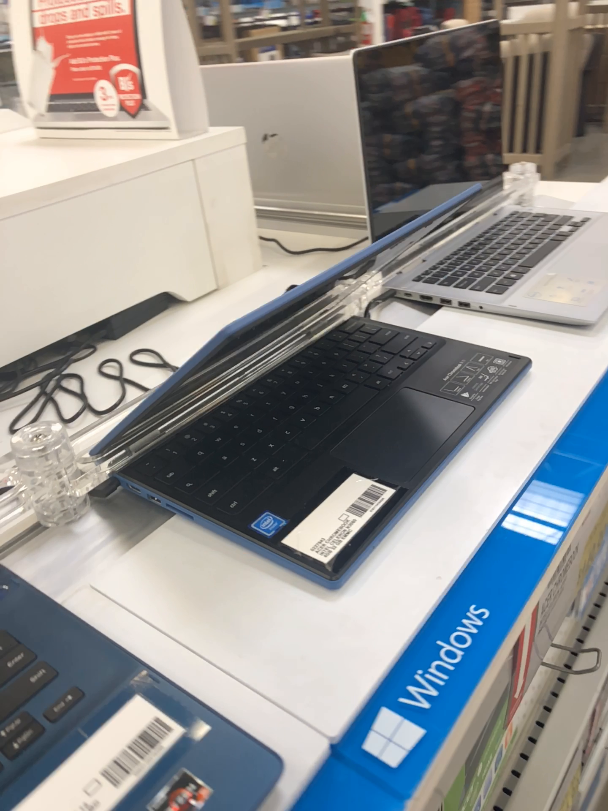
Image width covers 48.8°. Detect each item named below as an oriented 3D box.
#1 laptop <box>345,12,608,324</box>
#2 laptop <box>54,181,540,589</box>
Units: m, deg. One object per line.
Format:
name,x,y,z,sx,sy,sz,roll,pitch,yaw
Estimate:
laptop,0.255,-0.278,0.716,0.246,0.216,0.356,18,38,33
laptop,0.019,-0.049,0.457,0.184,0.128,0.280,16,37,31
